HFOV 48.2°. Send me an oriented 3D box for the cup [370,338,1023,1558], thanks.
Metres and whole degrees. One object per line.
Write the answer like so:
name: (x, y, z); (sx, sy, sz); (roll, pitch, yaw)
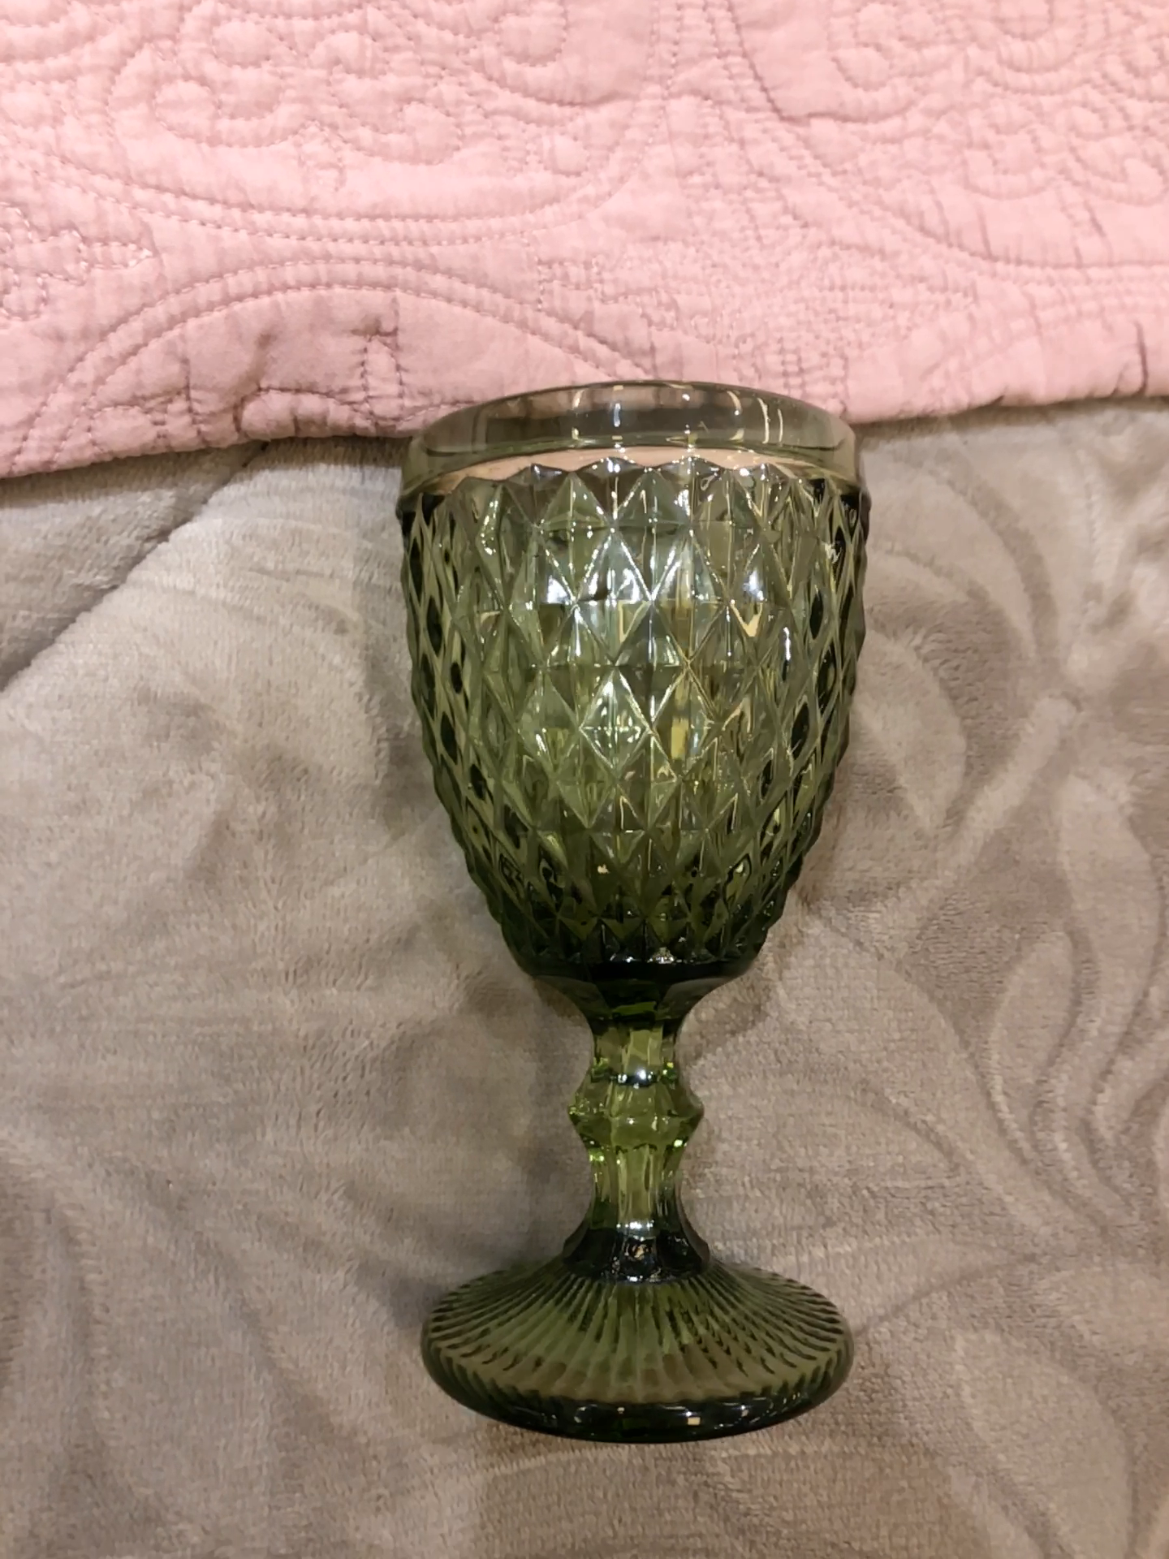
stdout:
cup: (0.011, 0.032, 0.239); (0.090, 0.080, 0.190); (1, 82, -16)
